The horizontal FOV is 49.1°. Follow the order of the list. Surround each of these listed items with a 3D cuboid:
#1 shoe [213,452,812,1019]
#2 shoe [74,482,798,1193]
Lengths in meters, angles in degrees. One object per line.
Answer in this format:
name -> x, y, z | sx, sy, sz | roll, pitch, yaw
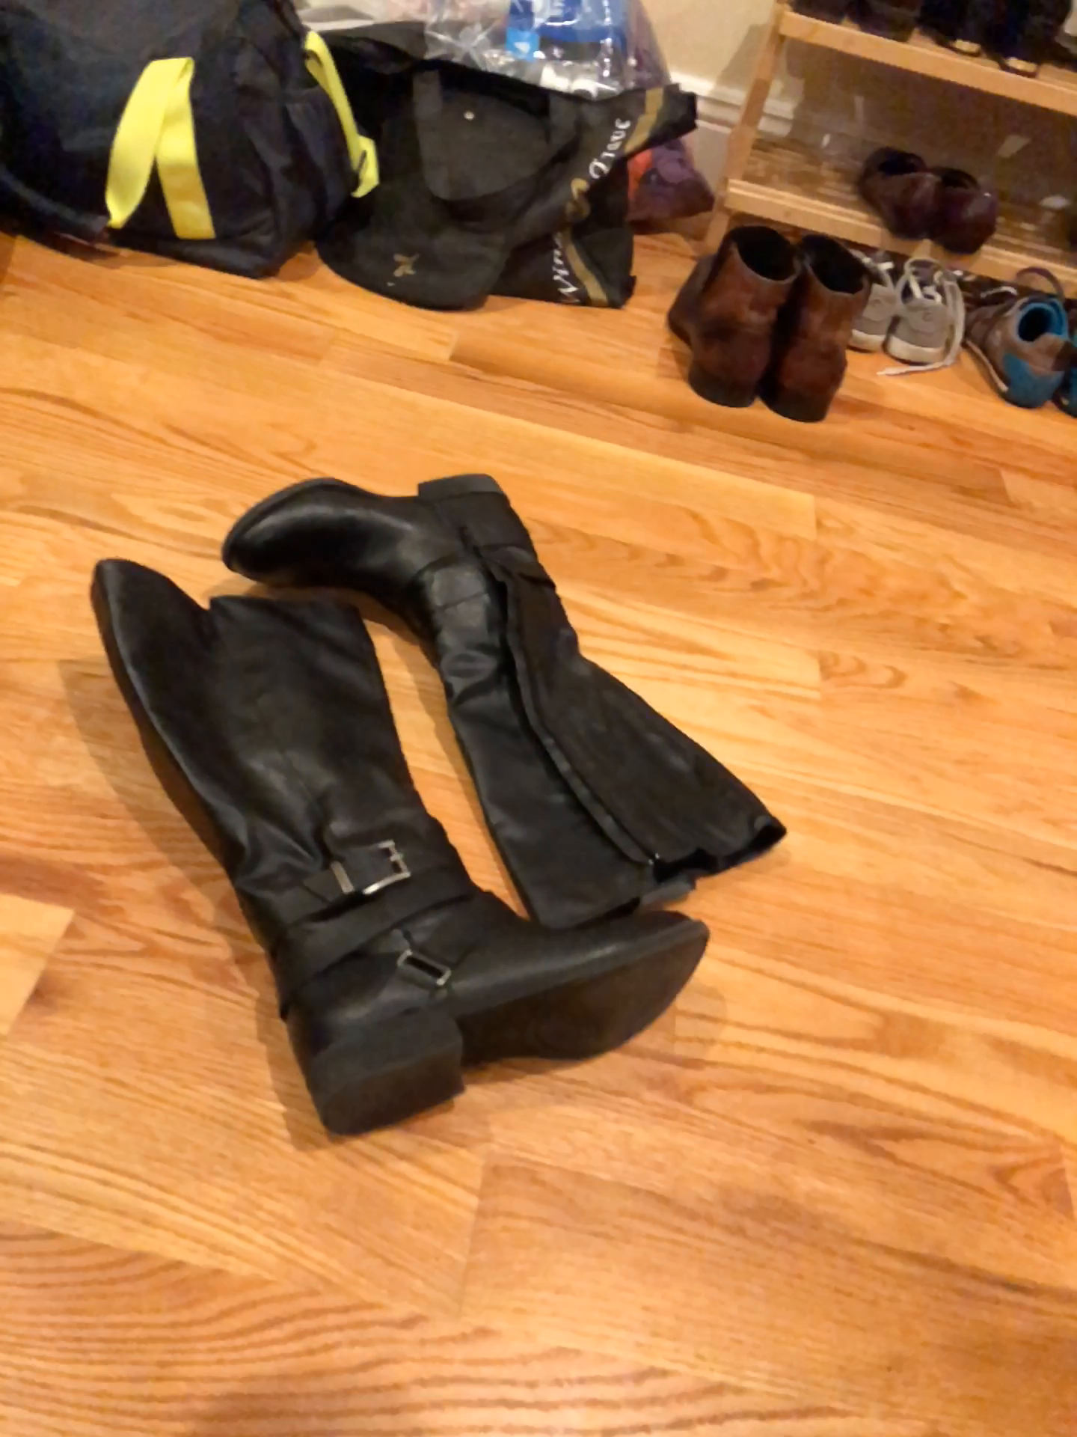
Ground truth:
shoe -> -0.043, -0.024, 0.771 | 0.251, 0.094, 0.395 | -8, 46, -25
shoe -> -0.087, 0.025, 0.704 | 0.291, 0.104, 0.405 | -9, 48, -26
